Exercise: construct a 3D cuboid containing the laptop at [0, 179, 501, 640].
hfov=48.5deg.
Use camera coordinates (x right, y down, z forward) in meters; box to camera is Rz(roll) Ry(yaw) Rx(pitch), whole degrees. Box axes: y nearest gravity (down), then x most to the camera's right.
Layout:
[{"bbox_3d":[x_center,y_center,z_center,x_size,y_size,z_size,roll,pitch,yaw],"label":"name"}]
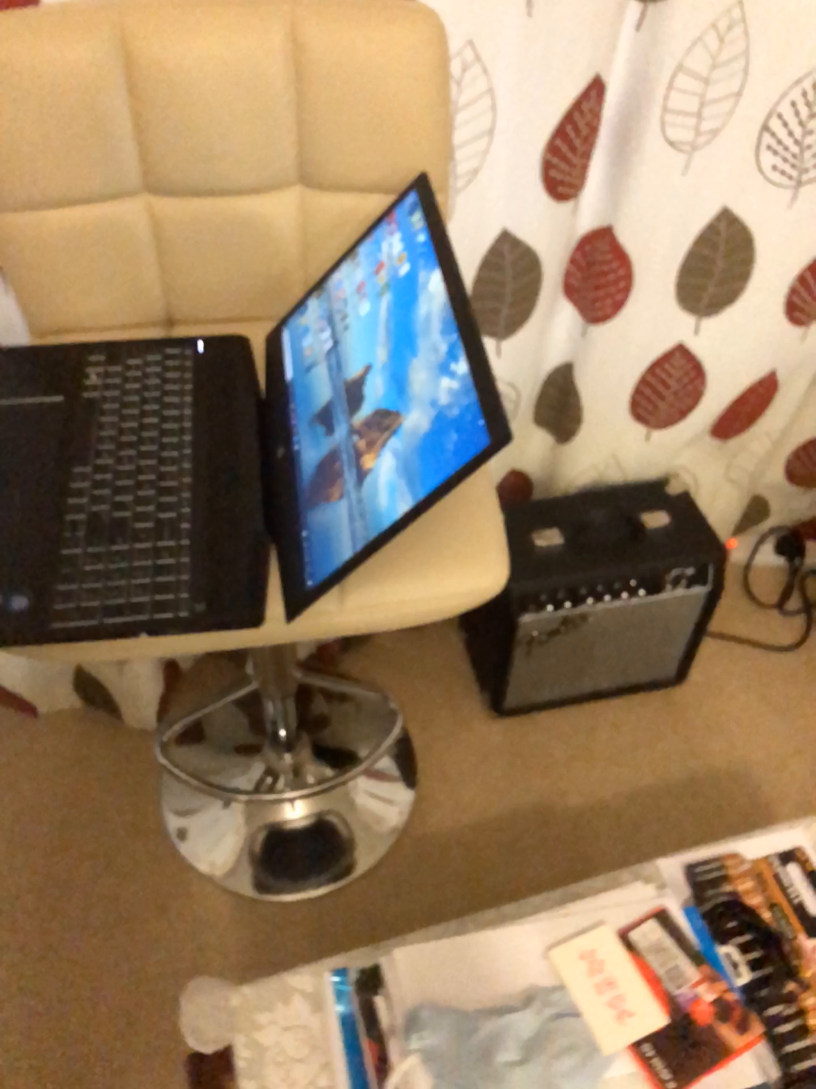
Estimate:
[{"bbox_3d":[-0.164,-0.129,0.723,0.400,0.159,0.350,-4,48,-9],"label":"laptop"}]
